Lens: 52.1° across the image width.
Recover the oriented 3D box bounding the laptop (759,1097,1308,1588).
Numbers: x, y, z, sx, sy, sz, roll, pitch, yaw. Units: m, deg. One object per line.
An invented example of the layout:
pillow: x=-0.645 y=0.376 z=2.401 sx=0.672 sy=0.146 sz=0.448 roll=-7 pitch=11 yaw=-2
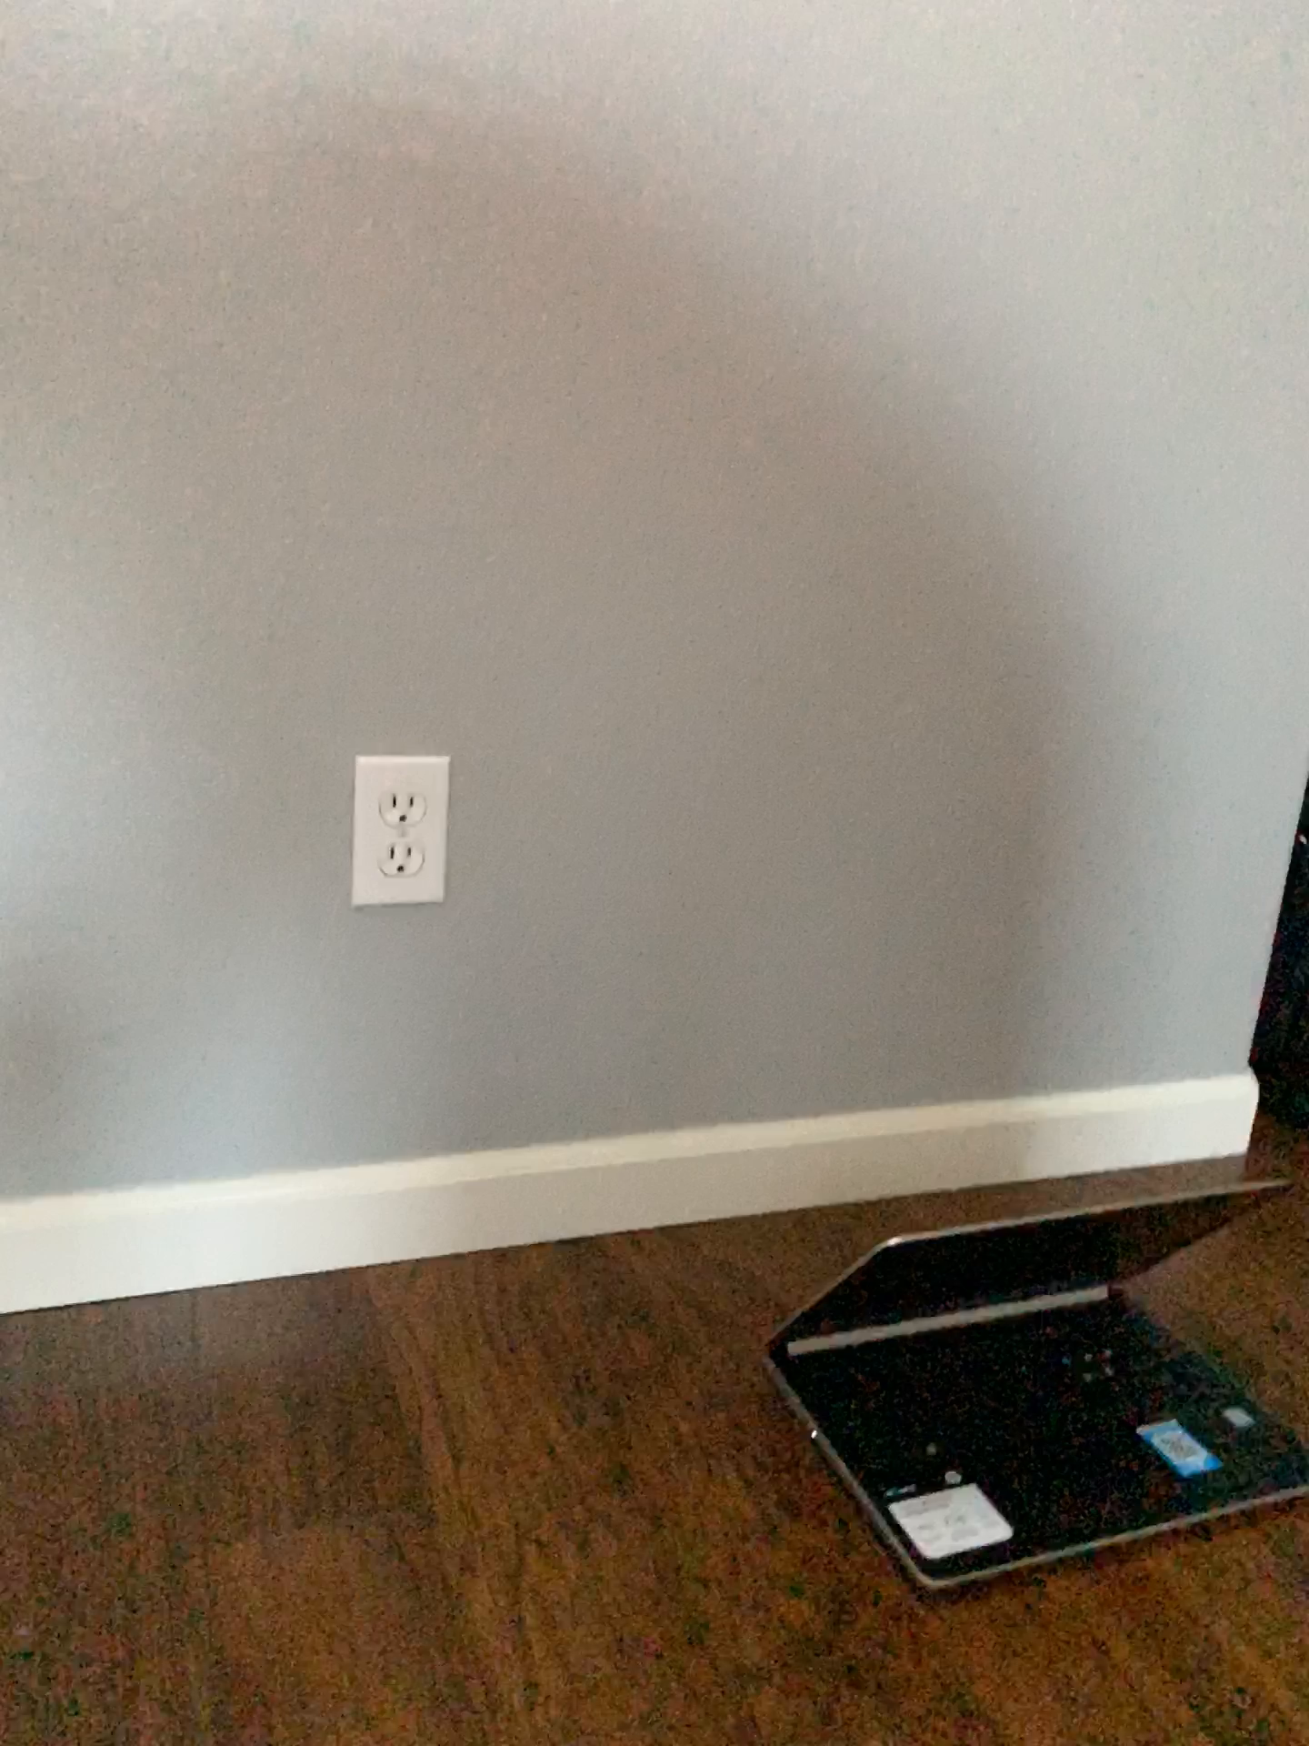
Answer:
laptop: x=0.271 y=0.292 z=0.904 sx=0.317 sy=0.169 sz=0.220 roll=-2 pitch=17 yaw=-22
